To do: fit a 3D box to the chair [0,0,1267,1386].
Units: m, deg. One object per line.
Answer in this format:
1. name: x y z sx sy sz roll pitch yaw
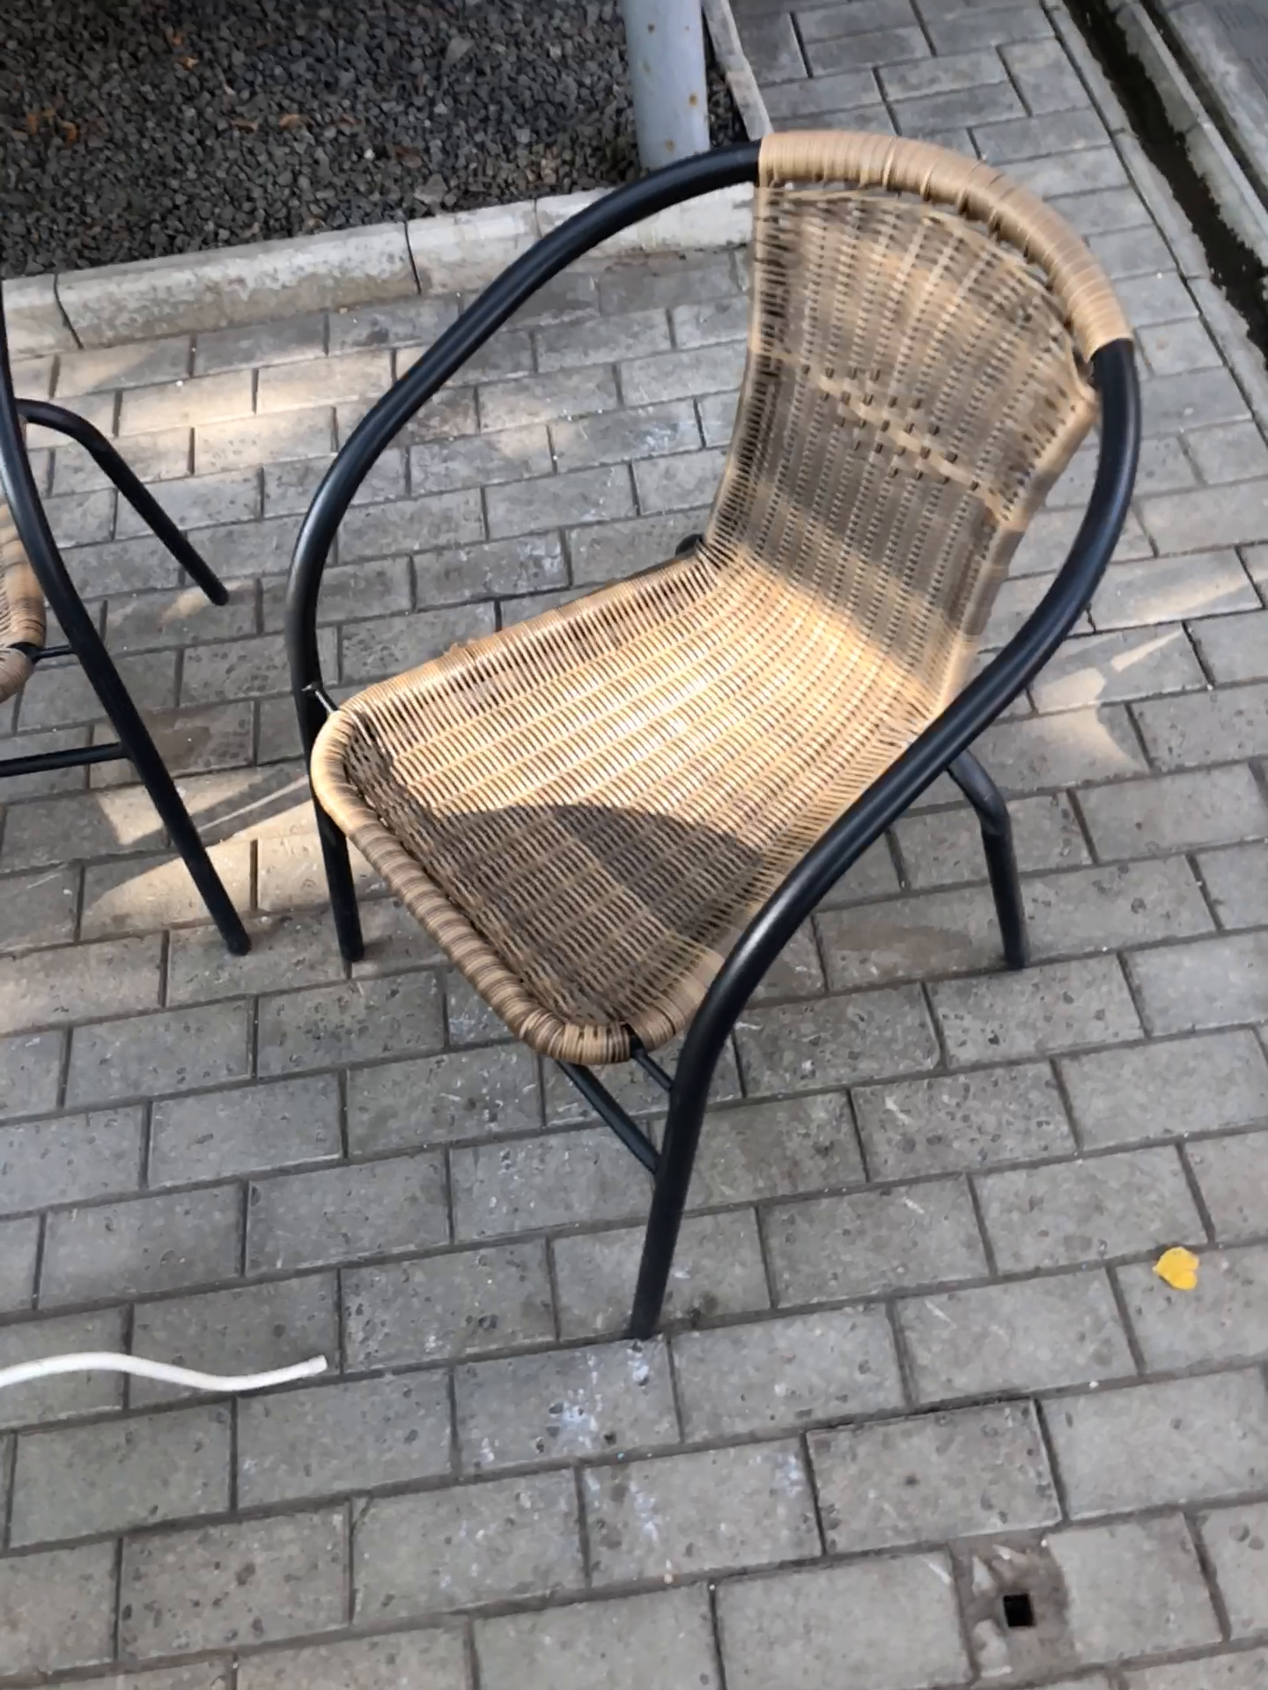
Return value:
1. chair: 0.021 -0.091 1.008 0.590 0.669 0.541 -35 60 -15
